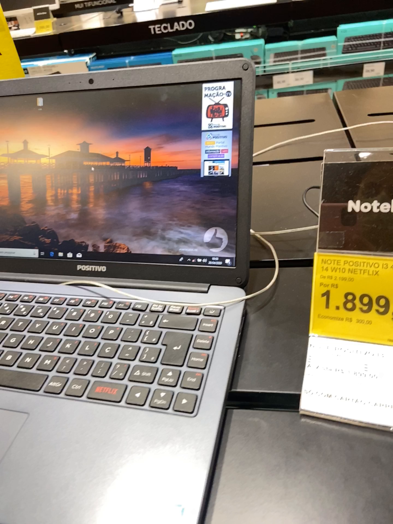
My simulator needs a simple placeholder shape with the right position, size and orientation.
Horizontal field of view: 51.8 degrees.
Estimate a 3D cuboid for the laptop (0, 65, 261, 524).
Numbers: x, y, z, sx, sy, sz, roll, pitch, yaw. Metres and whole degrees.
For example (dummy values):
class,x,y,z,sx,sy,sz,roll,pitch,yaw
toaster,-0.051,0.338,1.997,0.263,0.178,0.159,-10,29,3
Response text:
class,x,y,z,sx,sy,sz,roll,pitch,yaw
laptop,-0.138,-0.017,0.337,0.332,0.172,0.343,2,38,16
